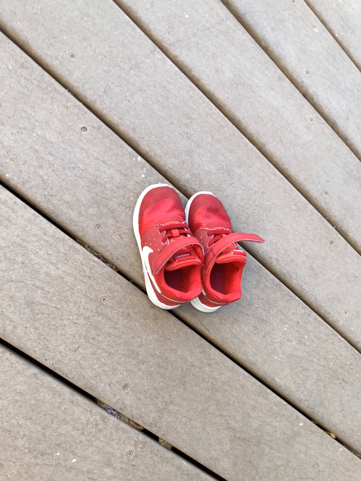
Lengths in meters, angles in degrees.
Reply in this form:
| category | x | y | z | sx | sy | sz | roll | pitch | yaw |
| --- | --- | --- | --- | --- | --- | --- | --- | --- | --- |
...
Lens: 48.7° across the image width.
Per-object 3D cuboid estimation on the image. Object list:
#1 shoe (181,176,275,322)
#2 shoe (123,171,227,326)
| category | x | y | z | sx | sy | sz | roll | pitch | yaw |
| --- | --- | --- | --- | --- | --- | --- | --- | --- | --- |
| shoe | 0.057 | 0.013 | 0.509 | 0.078 | 0.087 | 0.167 | 1 | 85 | -27 |
| shoe | -0.010 | 0.009 | 0.484 | 0.078 | 0.087 | 0.167 | -6 | 88 | -27 |
